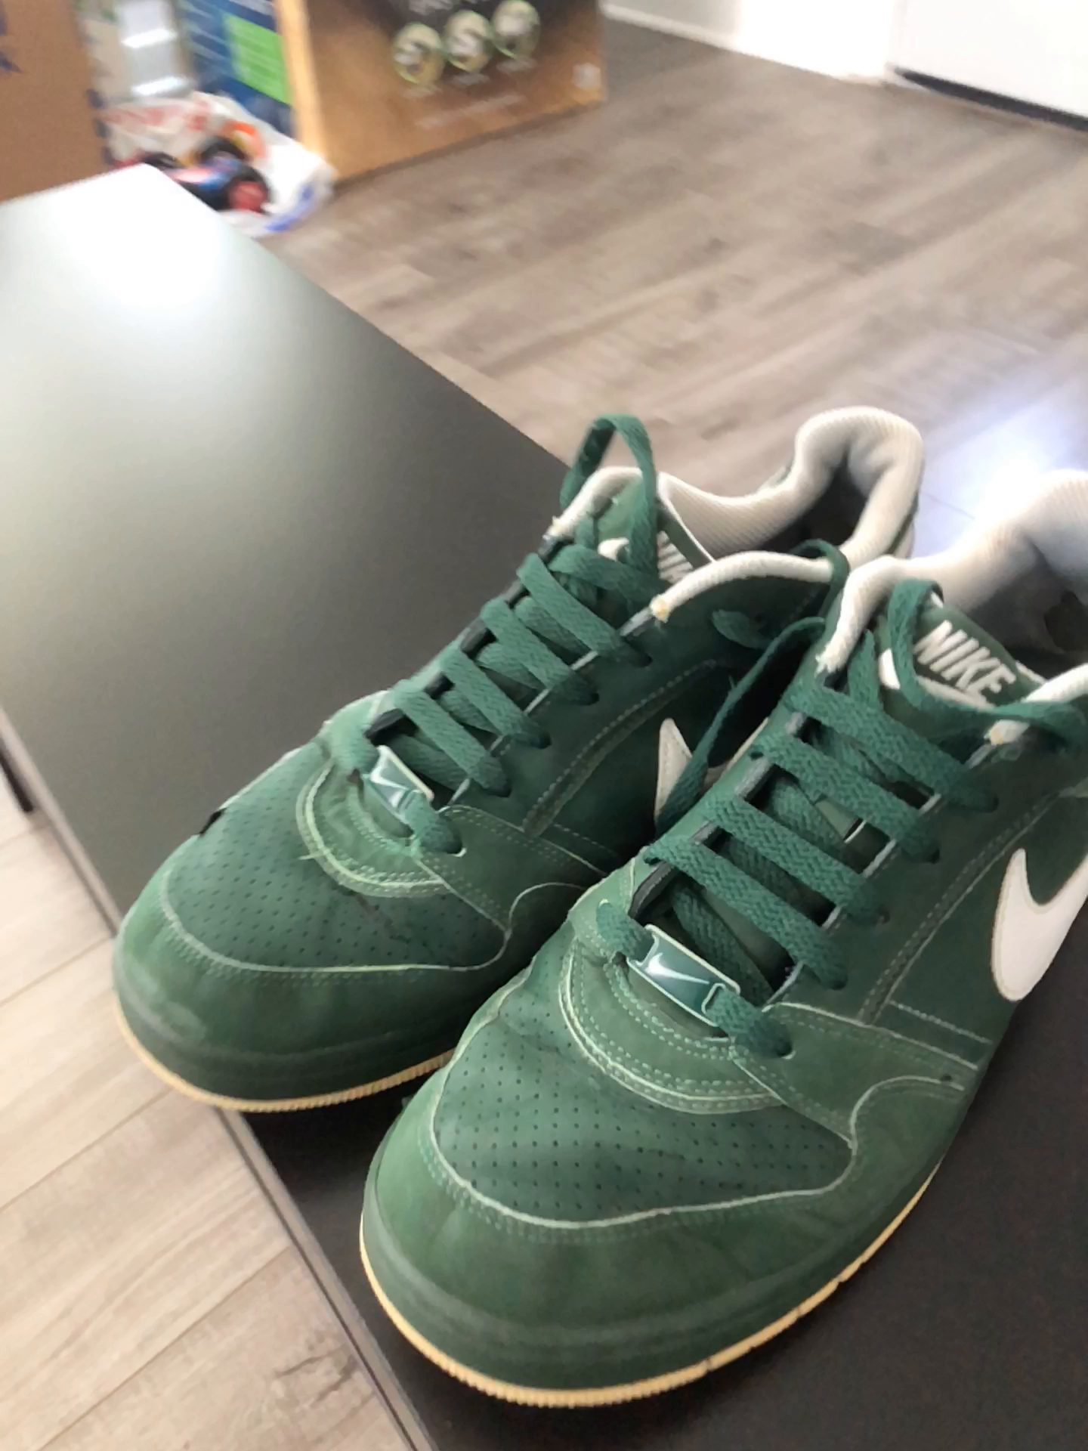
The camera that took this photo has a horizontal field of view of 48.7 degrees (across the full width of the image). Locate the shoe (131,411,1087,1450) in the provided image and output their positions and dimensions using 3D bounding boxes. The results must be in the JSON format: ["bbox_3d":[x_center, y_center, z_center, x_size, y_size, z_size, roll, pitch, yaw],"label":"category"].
[{"bbox_3d":[0.067,0.044,0.290,0.280,0.100,0.110,-33,52,-23],"label":"shoe"}]

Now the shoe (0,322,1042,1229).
[{"bbox_3d":[-0.001,-0.003,0.353,0.292,0.100,0.100,-31,51,-22],"label":"shoe"}]
